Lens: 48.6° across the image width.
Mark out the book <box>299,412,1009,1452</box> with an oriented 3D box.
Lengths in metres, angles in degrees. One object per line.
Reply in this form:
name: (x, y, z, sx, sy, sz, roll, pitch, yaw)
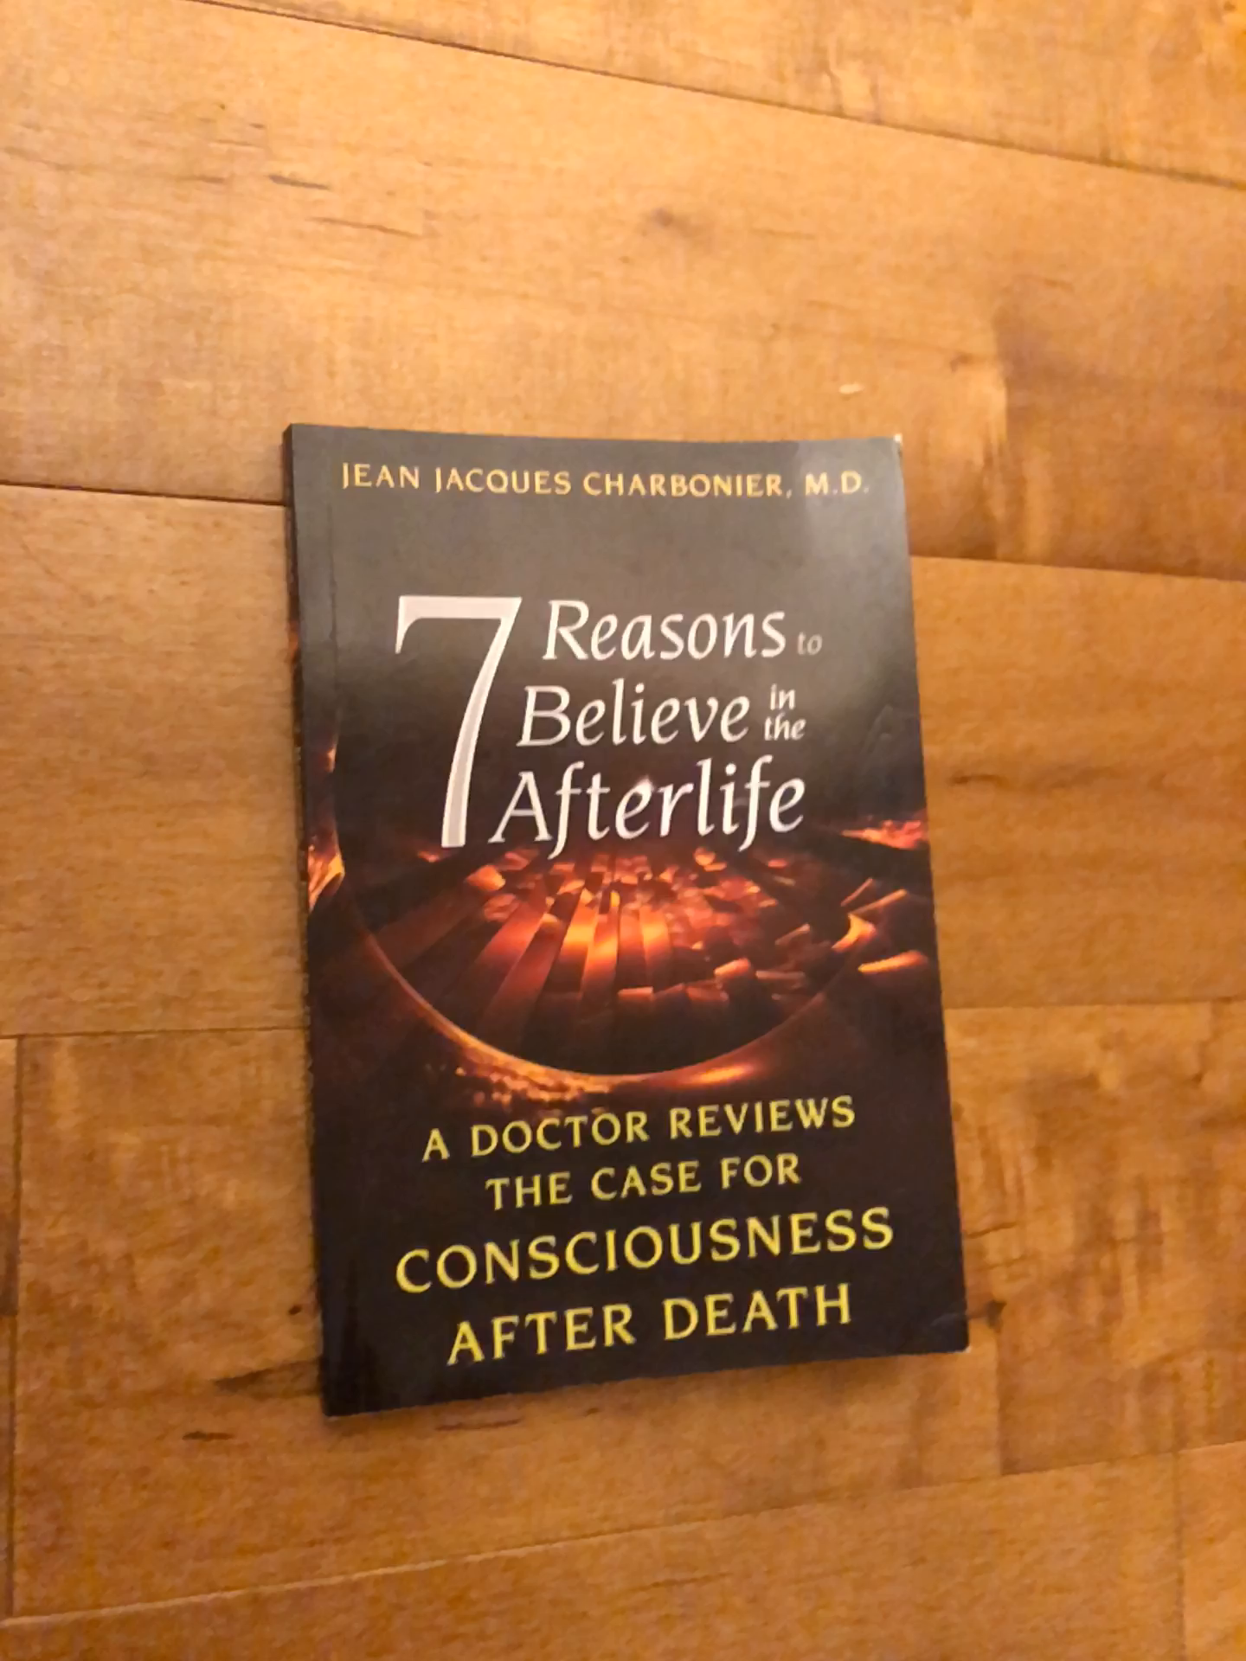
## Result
book: (0.007, 0.019, 0.362, 0.170, 0.030, 0.250, -2, 86, -10)
